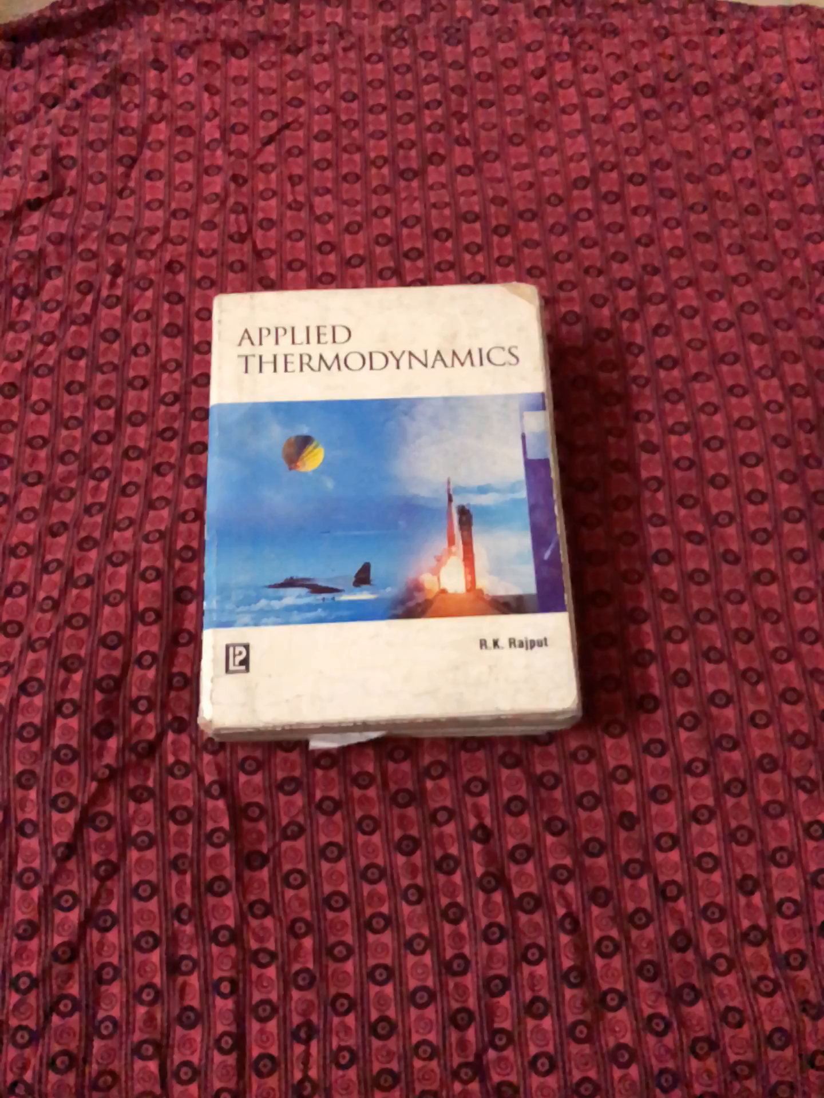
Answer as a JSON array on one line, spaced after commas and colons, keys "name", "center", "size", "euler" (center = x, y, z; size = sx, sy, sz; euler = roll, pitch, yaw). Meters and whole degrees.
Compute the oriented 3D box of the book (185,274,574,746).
[{"name": "book", "center": [-0.019, -0.024, 0.488], "size": [0.178, 0.060, 0.240], "euler": [-2, 71, -1]}]
